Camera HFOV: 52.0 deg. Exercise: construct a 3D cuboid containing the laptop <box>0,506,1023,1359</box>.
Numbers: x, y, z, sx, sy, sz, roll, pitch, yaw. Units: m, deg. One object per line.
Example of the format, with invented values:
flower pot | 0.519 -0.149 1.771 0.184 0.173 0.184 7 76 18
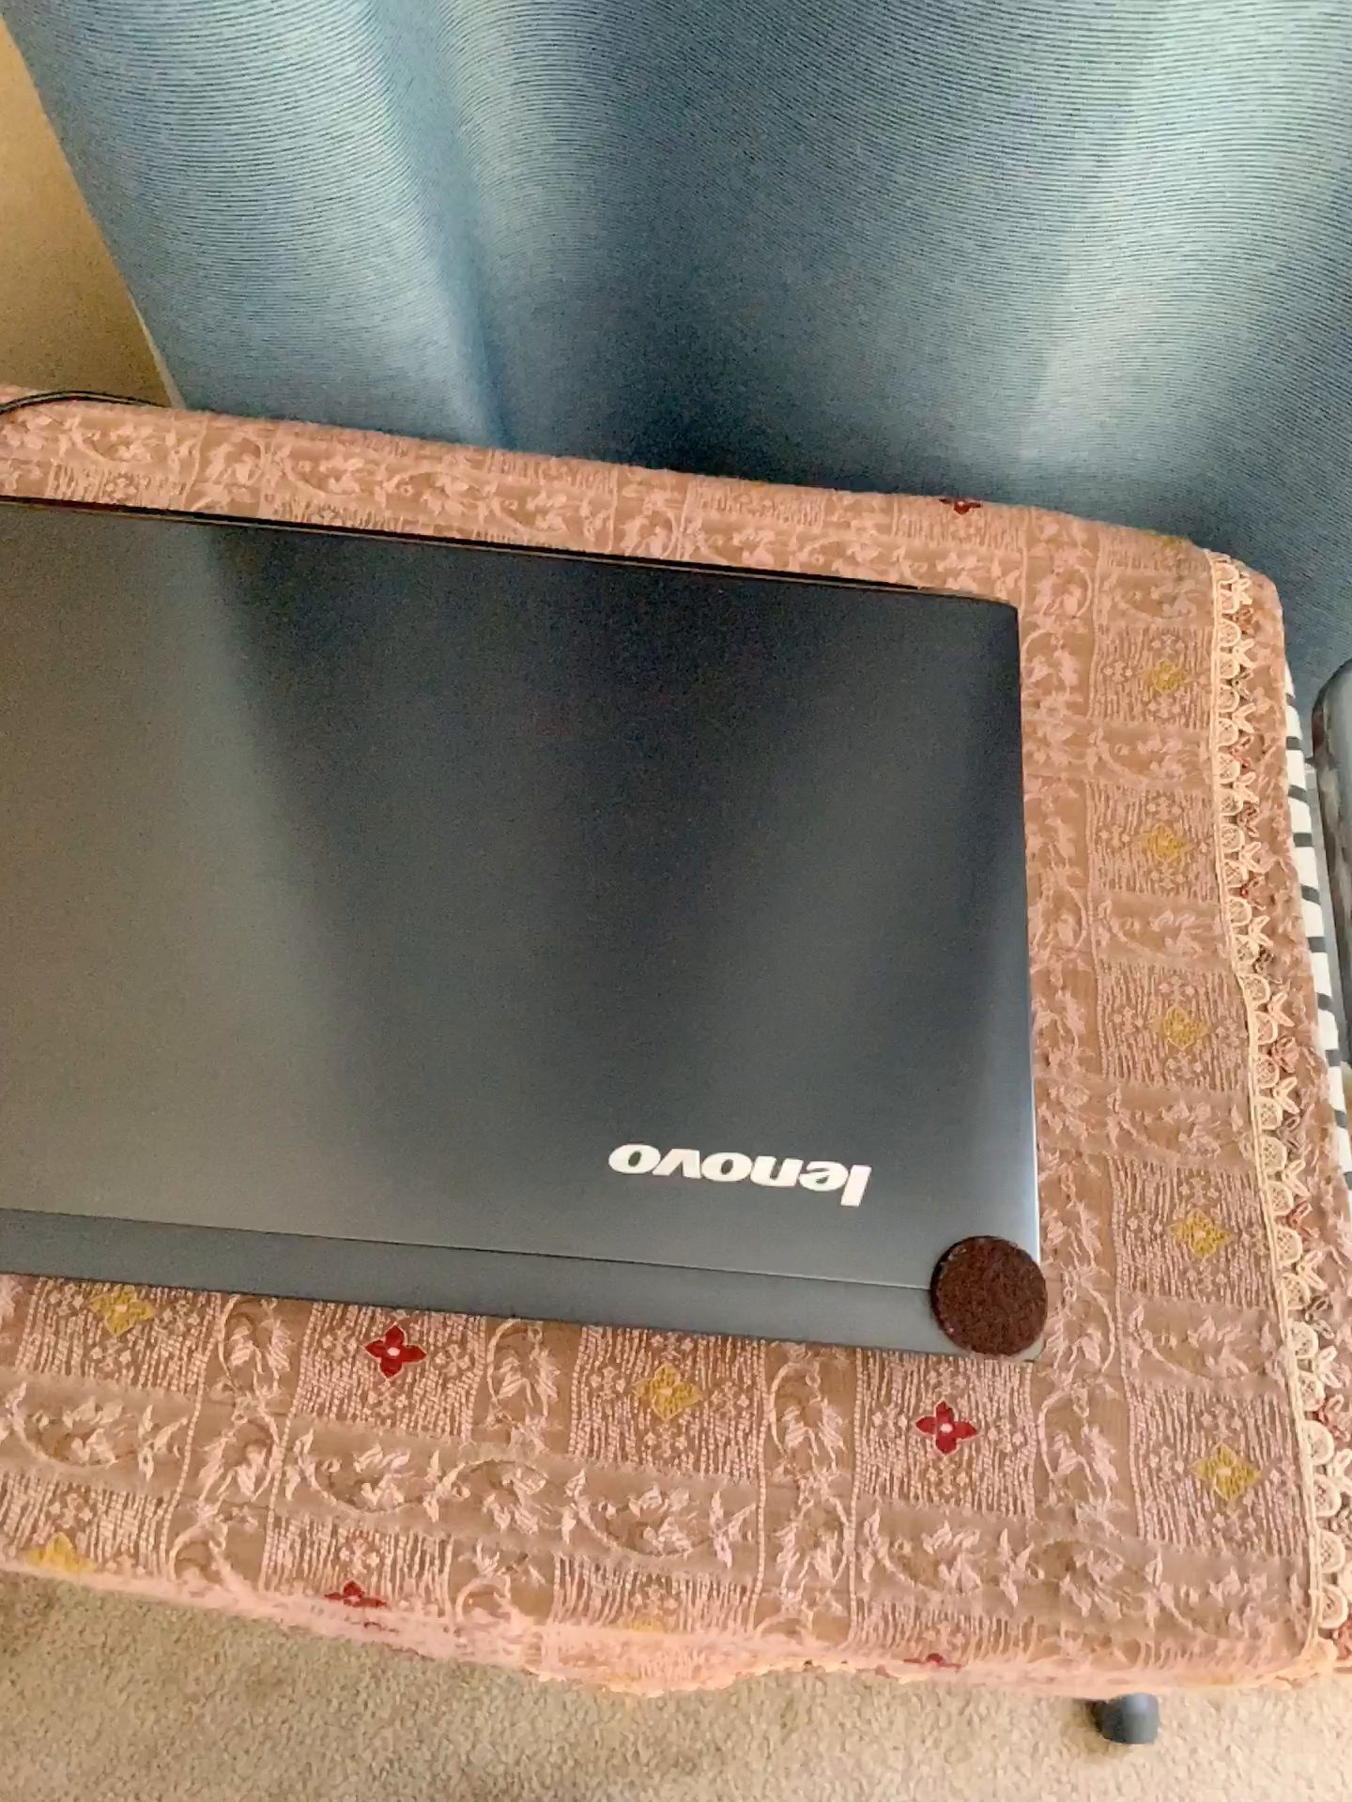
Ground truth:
laptop | -0.082 -0.004 0.389 0.356 0.011 0.223 5 67 1
